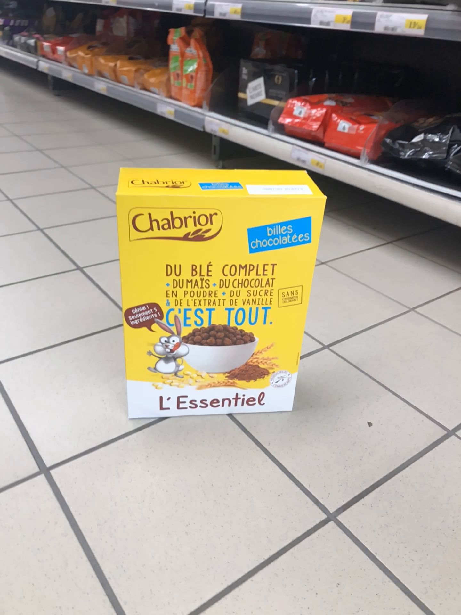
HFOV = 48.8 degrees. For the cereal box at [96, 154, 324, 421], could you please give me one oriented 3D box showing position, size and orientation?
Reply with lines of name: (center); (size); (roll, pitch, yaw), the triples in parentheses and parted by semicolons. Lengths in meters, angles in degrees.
cereal box: (-0.028, -0.014, 0.549); (0.200, 0.268, 0.090); (0, 30, -7)
